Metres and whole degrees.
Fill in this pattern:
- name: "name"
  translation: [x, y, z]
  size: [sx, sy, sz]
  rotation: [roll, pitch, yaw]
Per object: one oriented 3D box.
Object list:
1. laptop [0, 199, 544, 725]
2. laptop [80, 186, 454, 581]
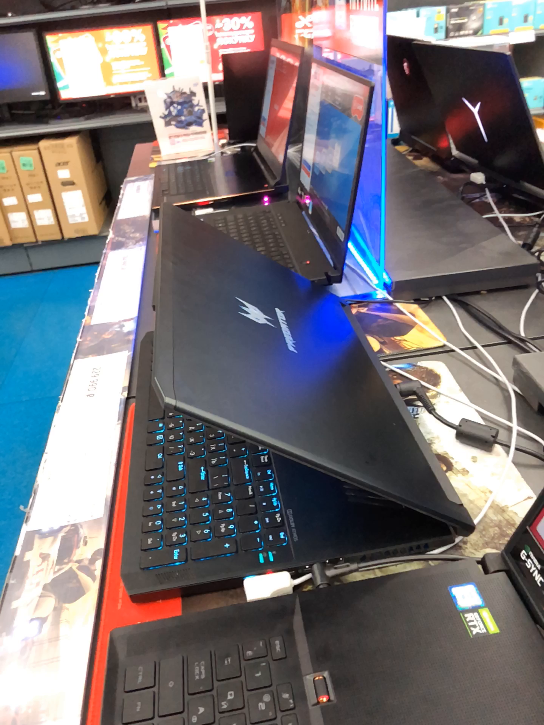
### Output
- name: "laptop"
  translation: [0.083, 0.143, 0.184]
  size: [0.362, 0.235, 0.373]
  rotation: [-9, 31, -4]
- name: "laptop"
  translation: [-0.019, -0.022, 0.552]
  size: [0.226, 0.152, 0.372]
  rotation: [-9, 31, -3]
